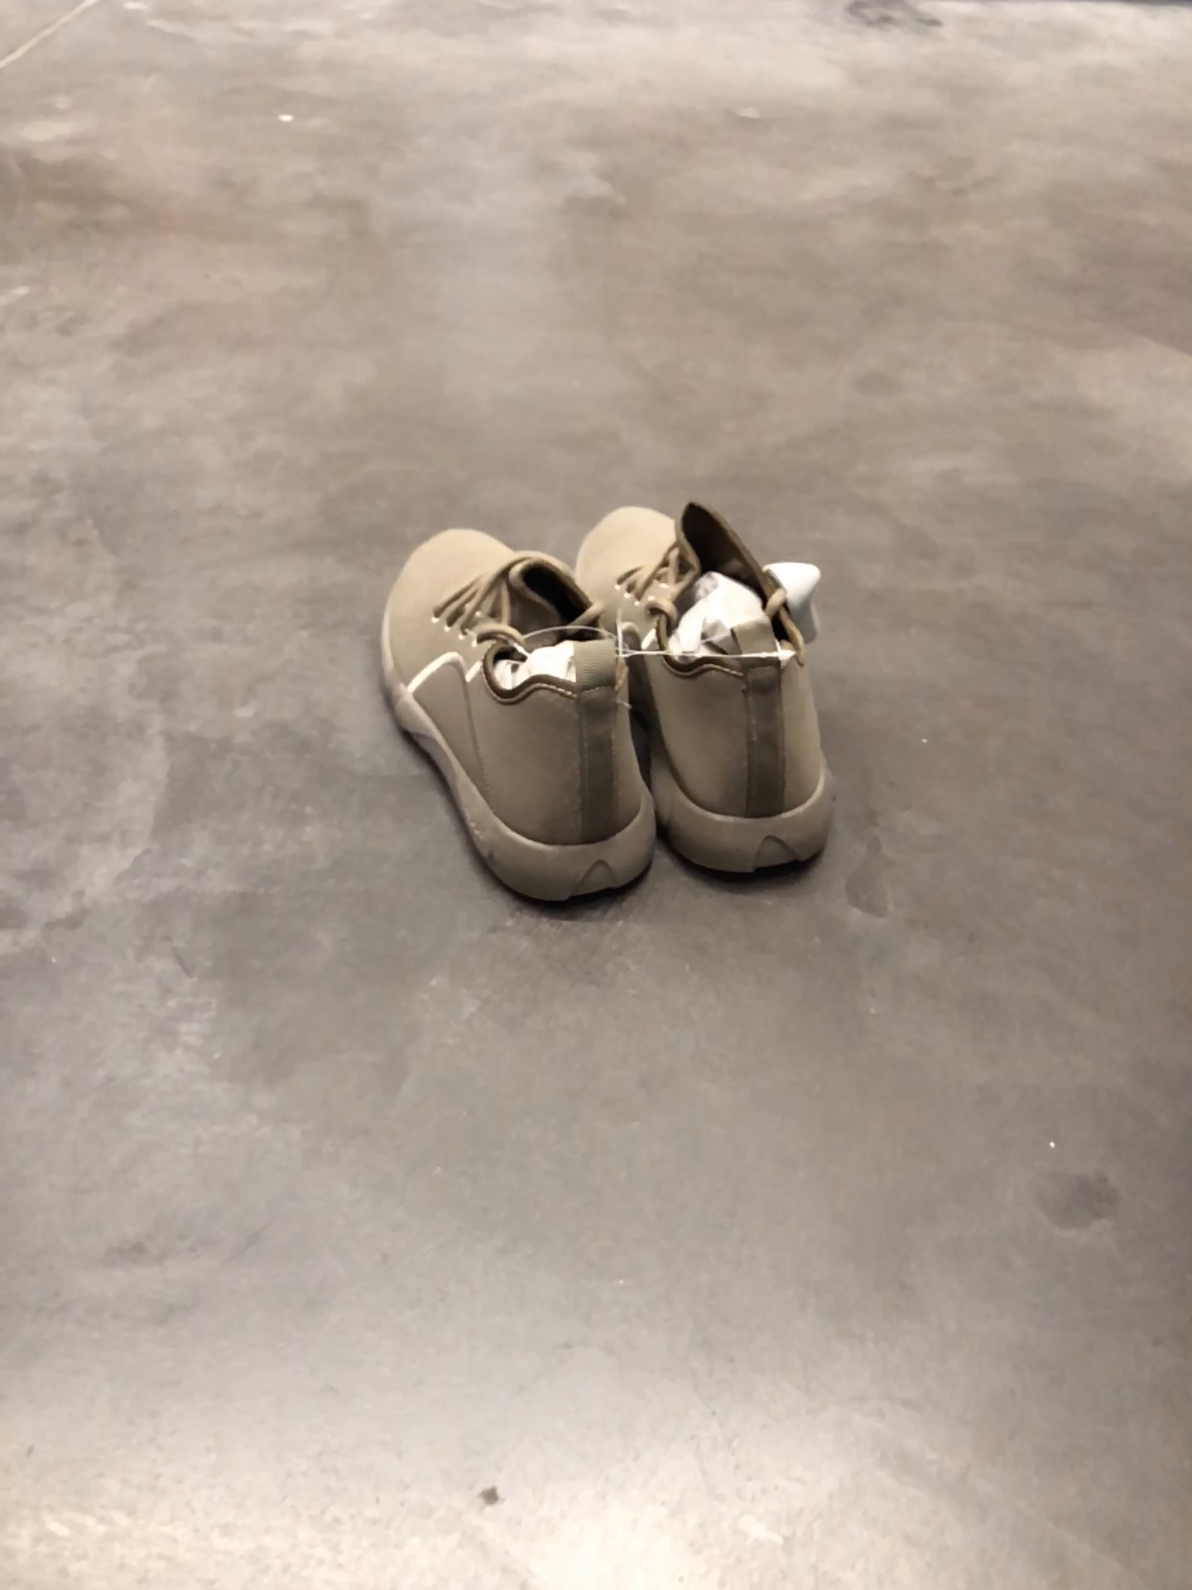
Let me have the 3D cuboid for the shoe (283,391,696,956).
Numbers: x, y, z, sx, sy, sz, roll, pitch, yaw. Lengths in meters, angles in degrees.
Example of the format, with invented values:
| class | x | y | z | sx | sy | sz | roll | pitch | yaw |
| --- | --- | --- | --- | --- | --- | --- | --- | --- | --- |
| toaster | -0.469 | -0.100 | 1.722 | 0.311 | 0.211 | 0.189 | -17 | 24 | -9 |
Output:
| class | x | y | z | sx | sy | sz | roll | pitch | yaw |
| --- | --- | --- | --- | --- | --- | --- | --- | --- | --- |
| shoe | -0.055 | -0.066 | 0.574 | 0.100 | 0.109 | 0.241 | -14 | 45 | -16 |

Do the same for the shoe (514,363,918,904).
| class | x | y | z | sx | sy | sz | roll | pitch | yaw |
| --- | --- | --- | --- | --- | --- | --- | --- | --- | --- |
| shoe | 0.038 | -0.084 | 0.585 | 0.090 | 0.109 | 0.241 | -11 | 44 | -12 |
